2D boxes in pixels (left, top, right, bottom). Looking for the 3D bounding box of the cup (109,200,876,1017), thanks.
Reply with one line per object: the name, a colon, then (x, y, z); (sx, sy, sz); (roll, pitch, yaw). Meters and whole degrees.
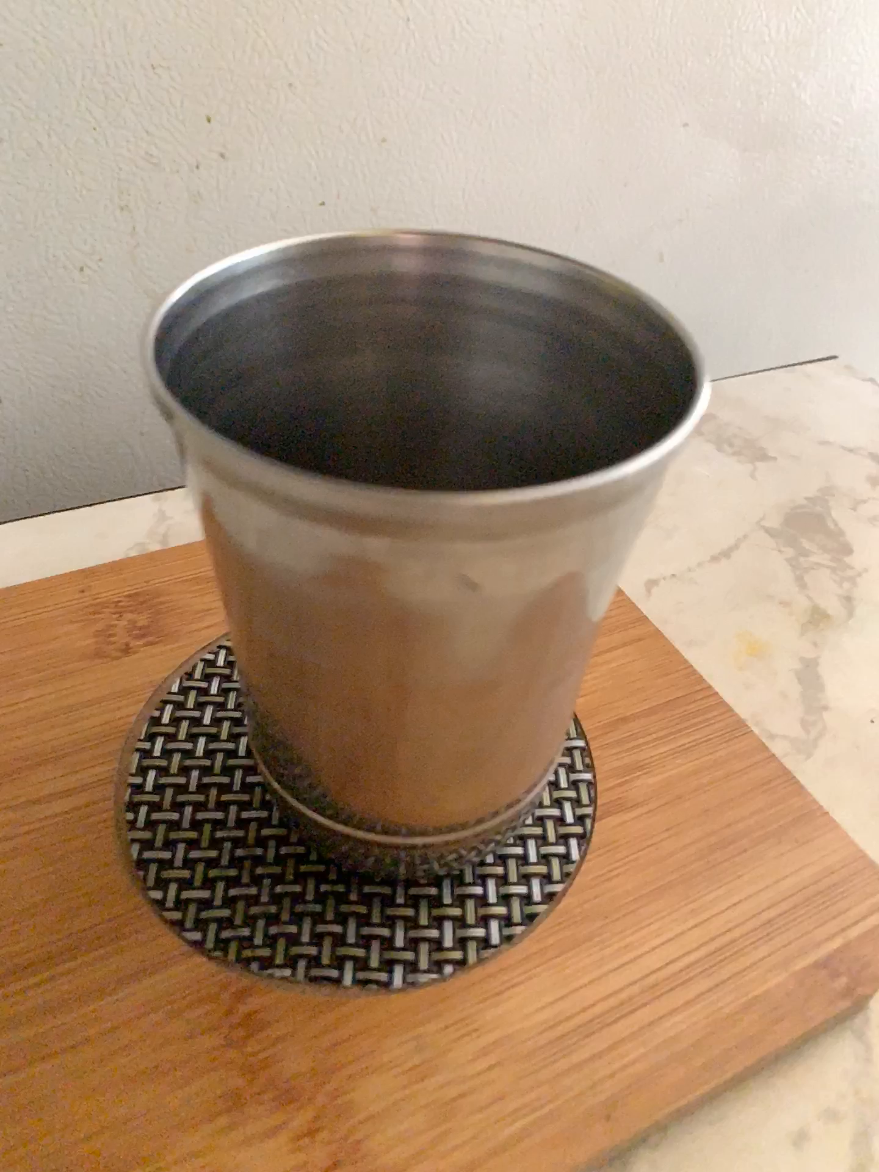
cup: (0.000, 0.001, 0.145); (0.072, 0.091, 0.071); (2, 42, -2)
